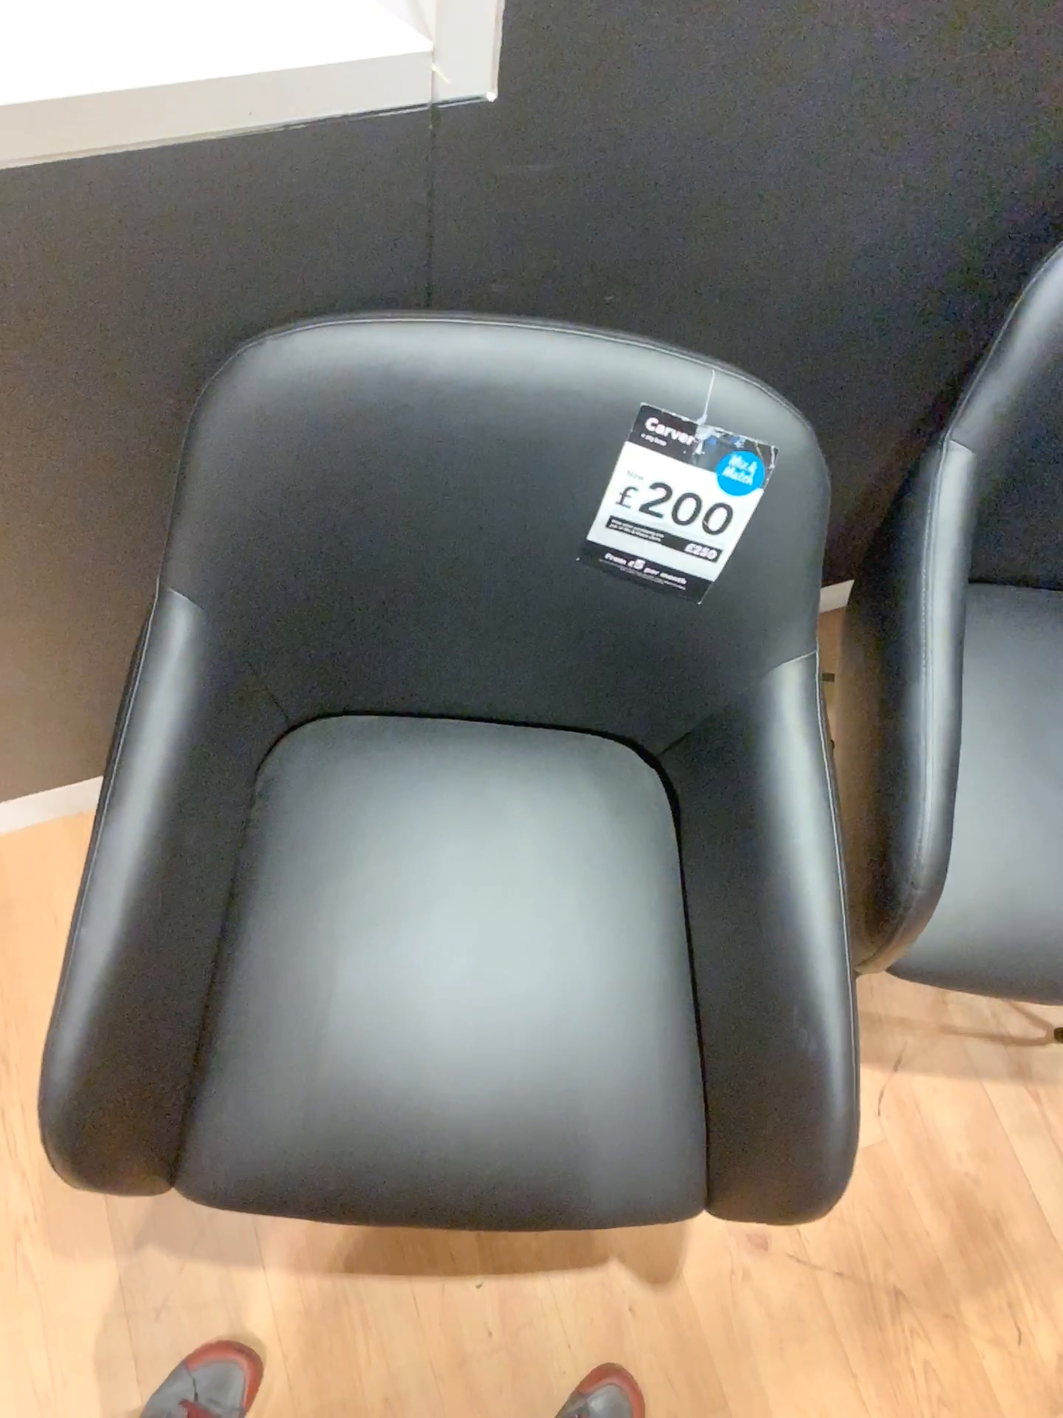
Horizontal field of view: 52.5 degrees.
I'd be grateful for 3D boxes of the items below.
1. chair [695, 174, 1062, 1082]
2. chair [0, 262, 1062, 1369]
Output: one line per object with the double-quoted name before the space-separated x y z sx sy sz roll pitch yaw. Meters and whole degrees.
"chair" 0.562 0.043 1.097 0.563 0.840 0.594 2 68 -5
"chair" -0.054 0.156 0.961 0.603 0.780 0.594 5 68 -4
